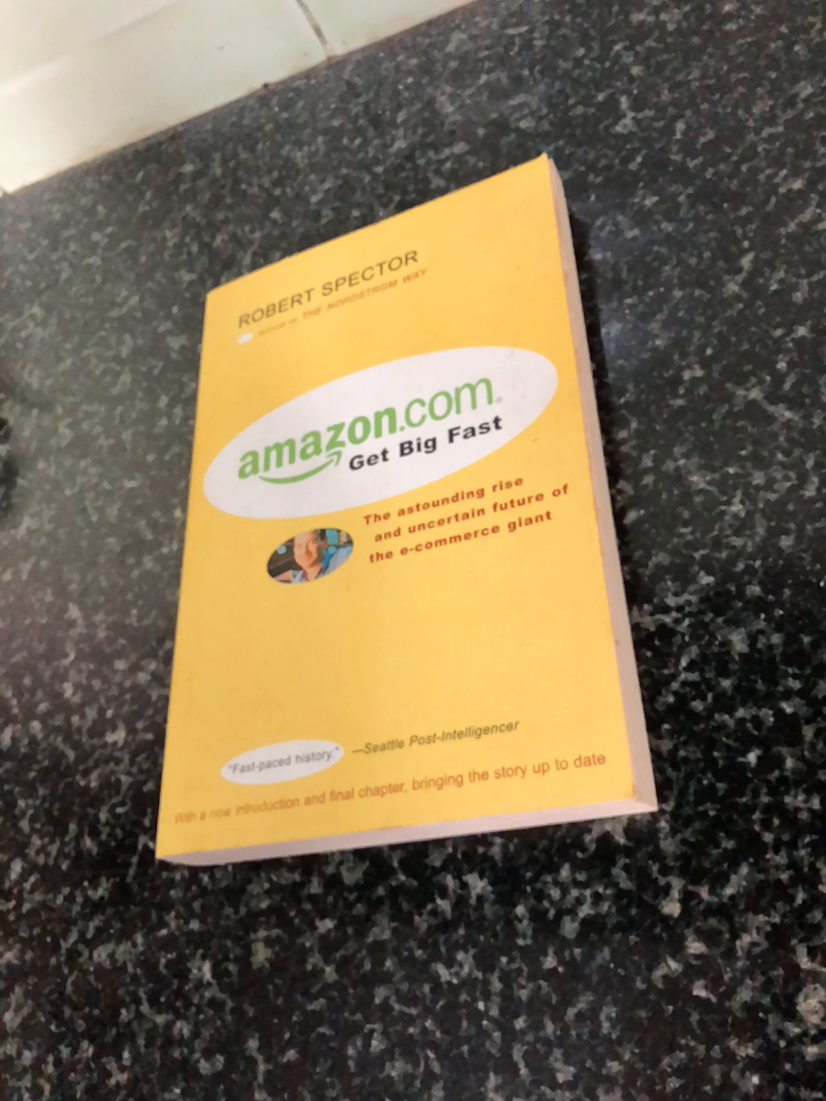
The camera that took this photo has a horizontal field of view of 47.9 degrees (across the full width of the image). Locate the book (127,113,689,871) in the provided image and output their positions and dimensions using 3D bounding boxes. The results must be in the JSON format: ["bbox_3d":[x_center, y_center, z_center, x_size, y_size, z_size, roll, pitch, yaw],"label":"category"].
[{"bbox_3d":[-0.009,-0.022,0.280,0.140,0.030,0.210,-14,60,21],"label":"book"}]
